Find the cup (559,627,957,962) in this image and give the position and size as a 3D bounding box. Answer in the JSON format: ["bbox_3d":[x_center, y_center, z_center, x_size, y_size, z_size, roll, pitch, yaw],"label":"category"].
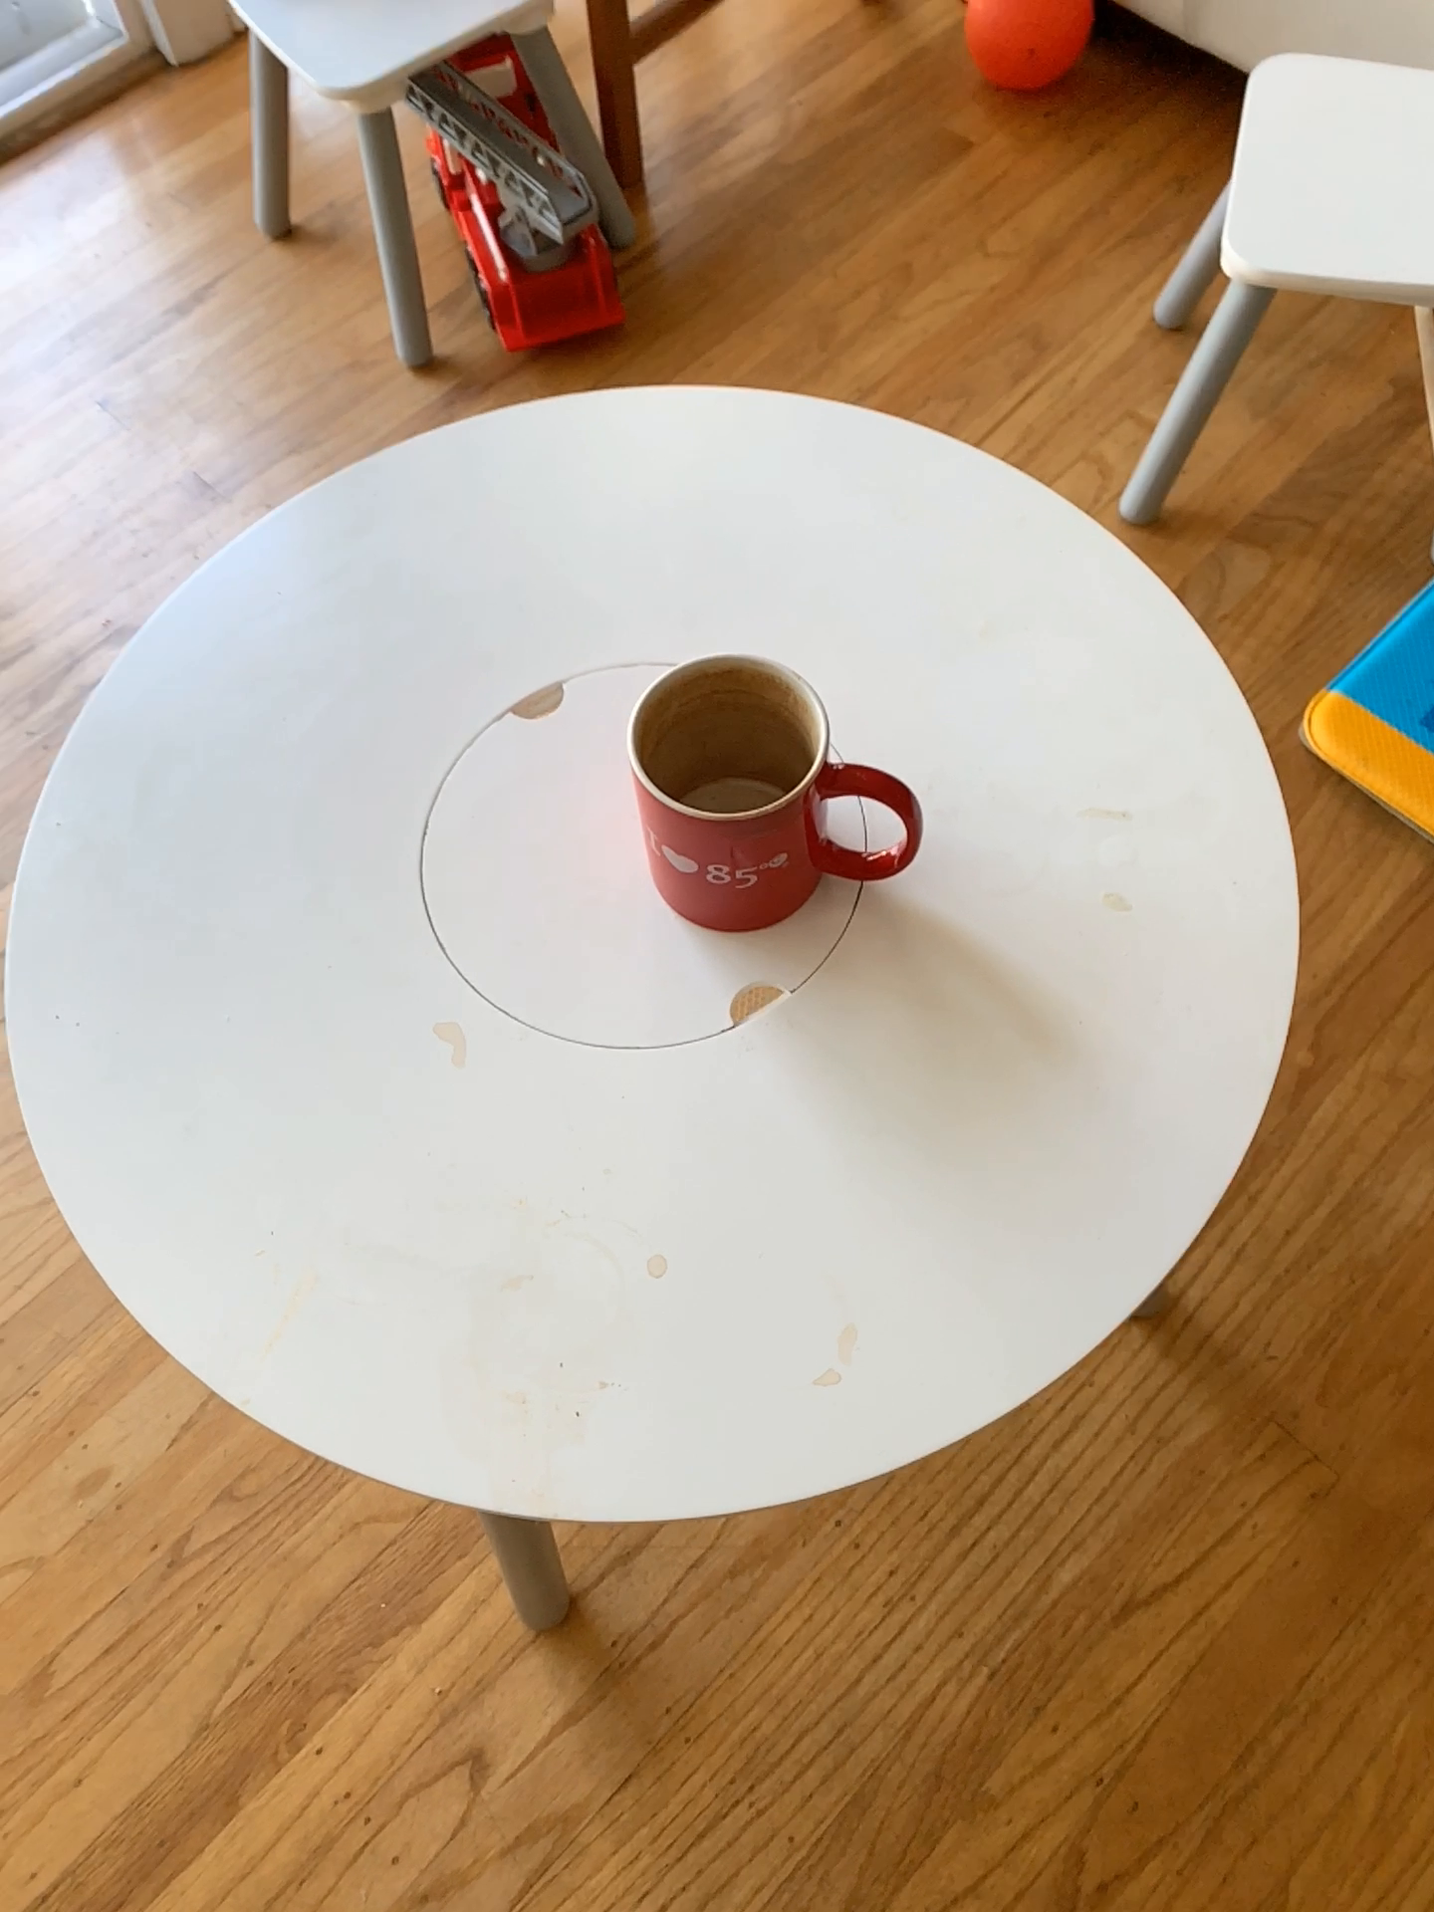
[{"bbox_3d":[0.021,-0.069,0.647,0.150,0.100,0.090,8,64,8],"label":"cup"}]
